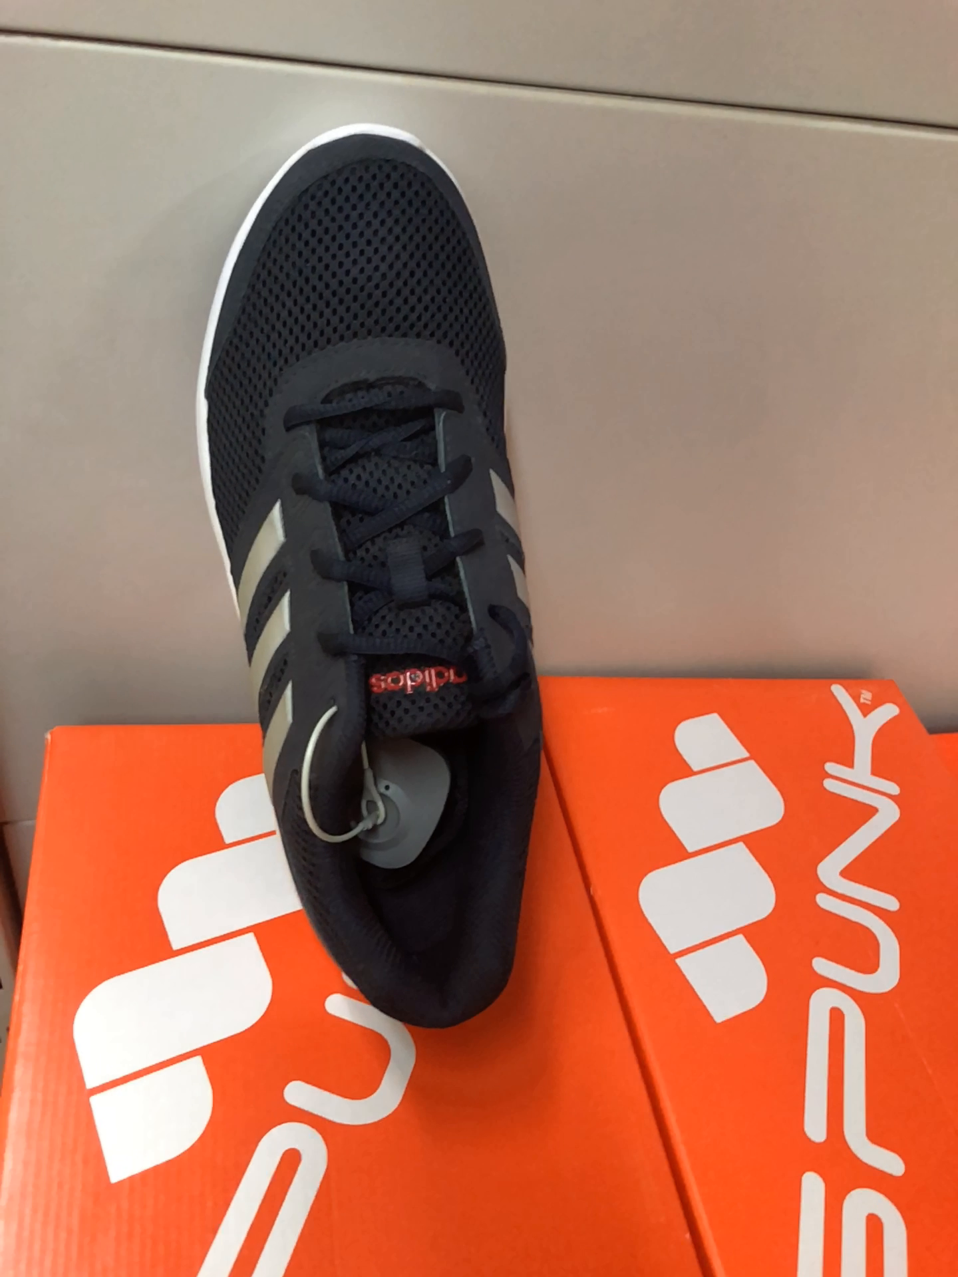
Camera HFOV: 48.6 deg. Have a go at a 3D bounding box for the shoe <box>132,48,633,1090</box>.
[{"bbox_3d":[-0.028,-0.021,0.329,0.110,0.271,0.088,-6,6,-10],"label":"shoe"}]
